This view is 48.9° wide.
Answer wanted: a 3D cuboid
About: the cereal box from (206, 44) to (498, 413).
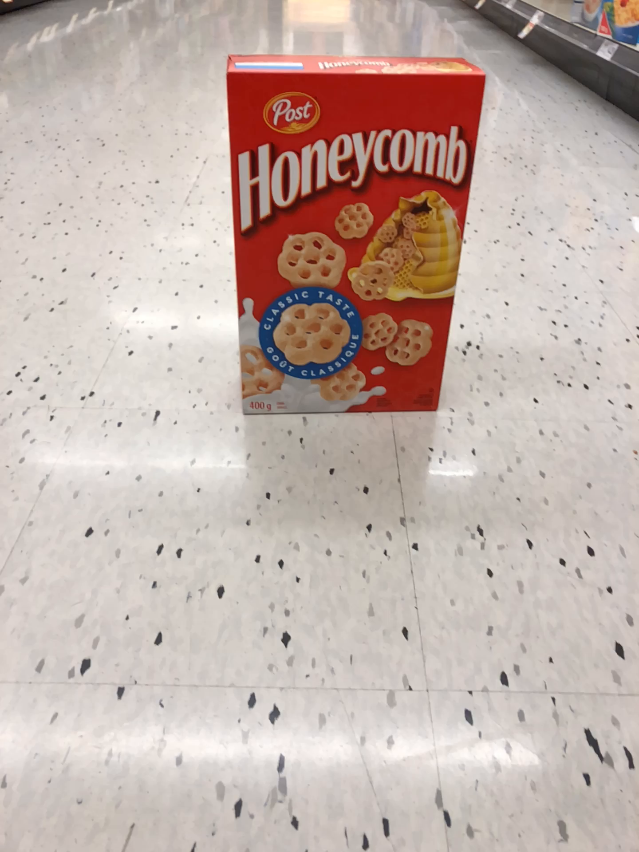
[{"bbox_3d":[0.017,-0.162,0.625,0.210,0.298,0.091,-1,36,-5],"label":"cereal box"}]
